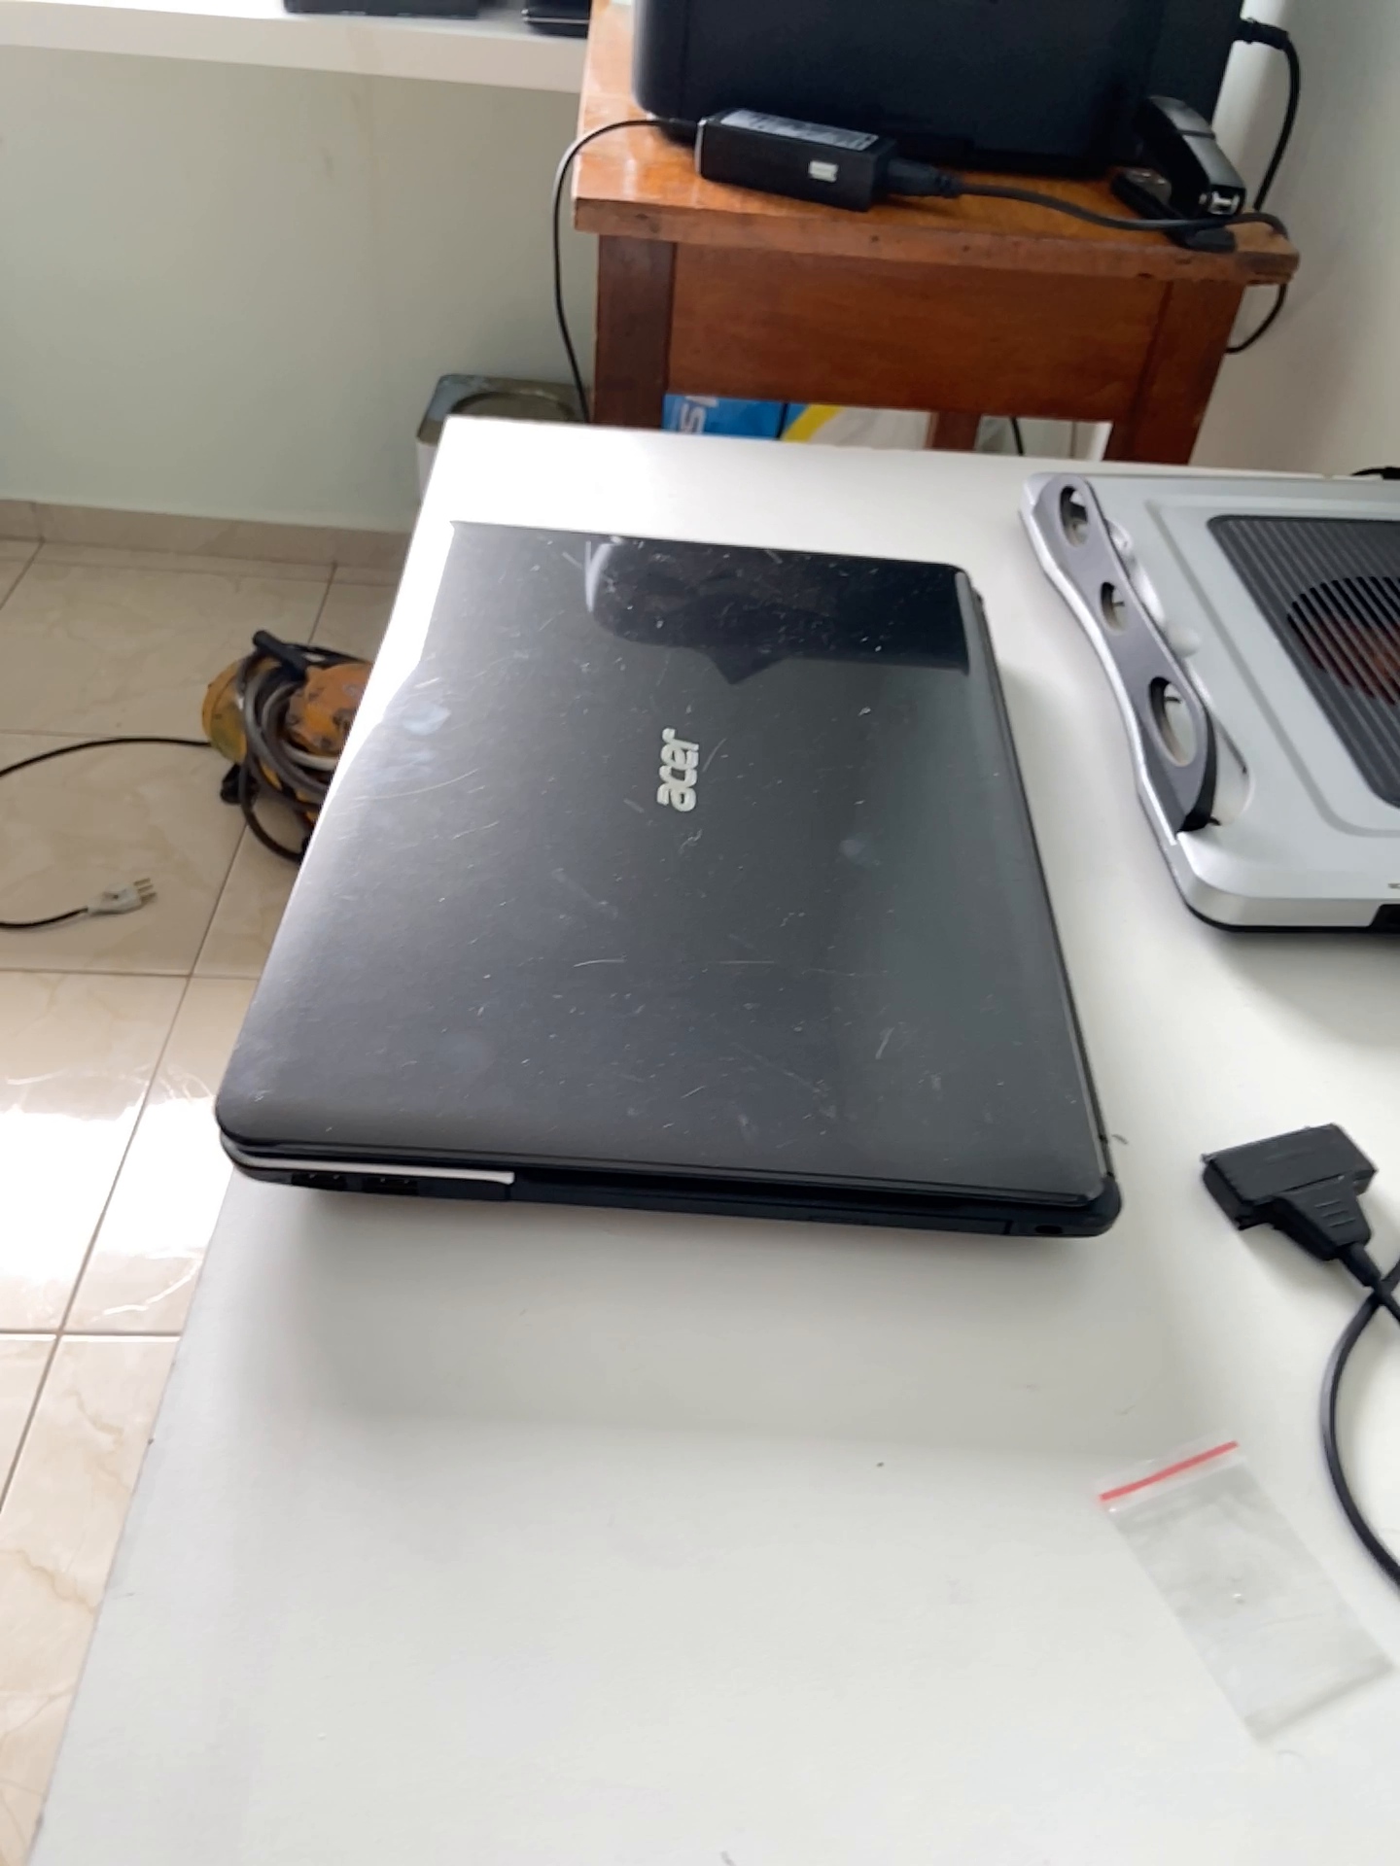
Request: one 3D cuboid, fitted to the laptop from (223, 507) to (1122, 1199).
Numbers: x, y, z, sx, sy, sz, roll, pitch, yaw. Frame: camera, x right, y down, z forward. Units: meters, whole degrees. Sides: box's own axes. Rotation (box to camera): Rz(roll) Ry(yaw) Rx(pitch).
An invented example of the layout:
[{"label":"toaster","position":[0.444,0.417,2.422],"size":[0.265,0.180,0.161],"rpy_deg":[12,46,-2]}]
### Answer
[{"label":"laptop","position":[-0.001,-0.056,0.493],"size":[0.230,0.005,0.337],"rpy_deg":[5,42,-2]}]
